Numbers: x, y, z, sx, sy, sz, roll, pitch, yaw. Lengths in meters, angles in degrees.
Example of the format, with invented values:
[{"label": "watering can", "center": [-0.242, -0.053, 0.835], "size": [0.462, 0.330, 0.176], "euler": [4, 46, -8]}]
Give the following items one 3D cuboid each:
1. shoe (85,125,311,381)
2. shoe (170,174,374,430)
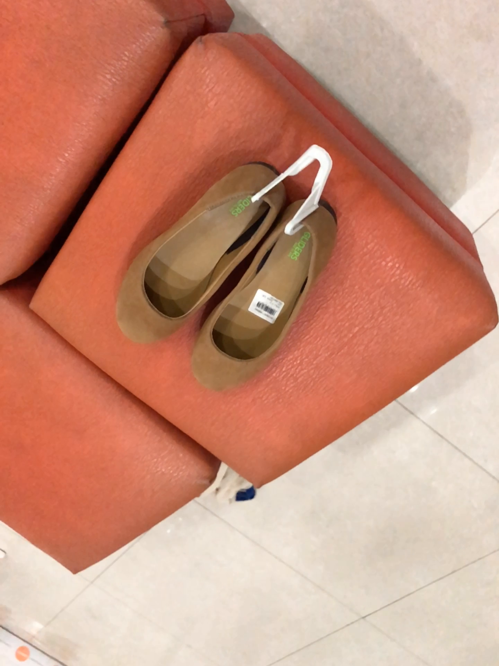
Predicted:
[{"label": "shoe", "center": [-0.066, -0.077, 0.618], "size": [0.097, 0.070, 0.288], "euler": [39, 123, -8]}, {"label": "shoe", "center": [0.017, -0.022, 0.627], "size": [0.094, 0.070, 0.288], "euler": [30, 124, -4]}]
